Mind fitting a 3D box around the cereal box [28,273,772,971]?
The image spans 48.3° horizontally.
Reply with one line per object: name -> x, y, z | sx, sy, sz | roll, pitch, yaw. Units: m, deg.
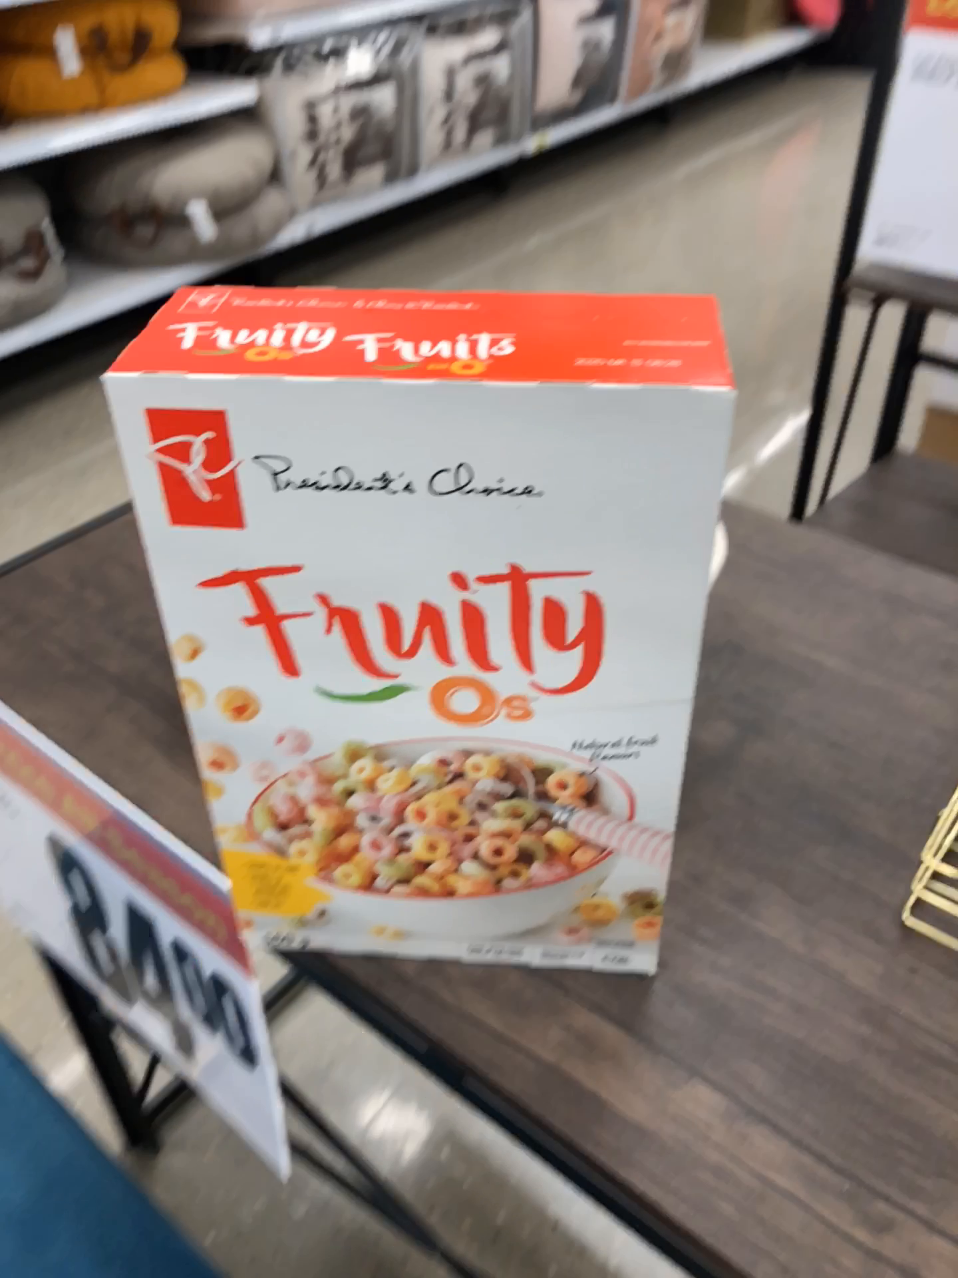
cereal box -> -0.020, 0.008, 0.430 | 0.220, 0.279, 0.080 | 3, 38, 5
